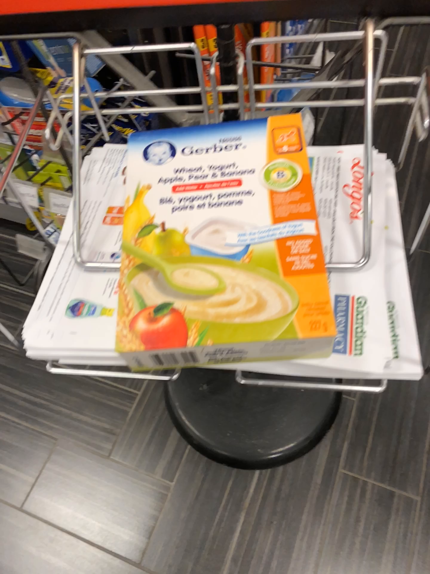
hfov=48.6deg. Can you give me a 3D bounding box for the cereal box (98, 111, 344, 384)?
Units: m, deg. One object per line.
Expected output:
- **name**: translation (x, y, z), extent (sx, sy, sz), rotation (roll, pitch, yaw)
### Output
- **cereal box**: translation (0.003, -0.036, 0.361), extent (0.150, 0.050, 0.201), rotation (-5, 59, 6)
